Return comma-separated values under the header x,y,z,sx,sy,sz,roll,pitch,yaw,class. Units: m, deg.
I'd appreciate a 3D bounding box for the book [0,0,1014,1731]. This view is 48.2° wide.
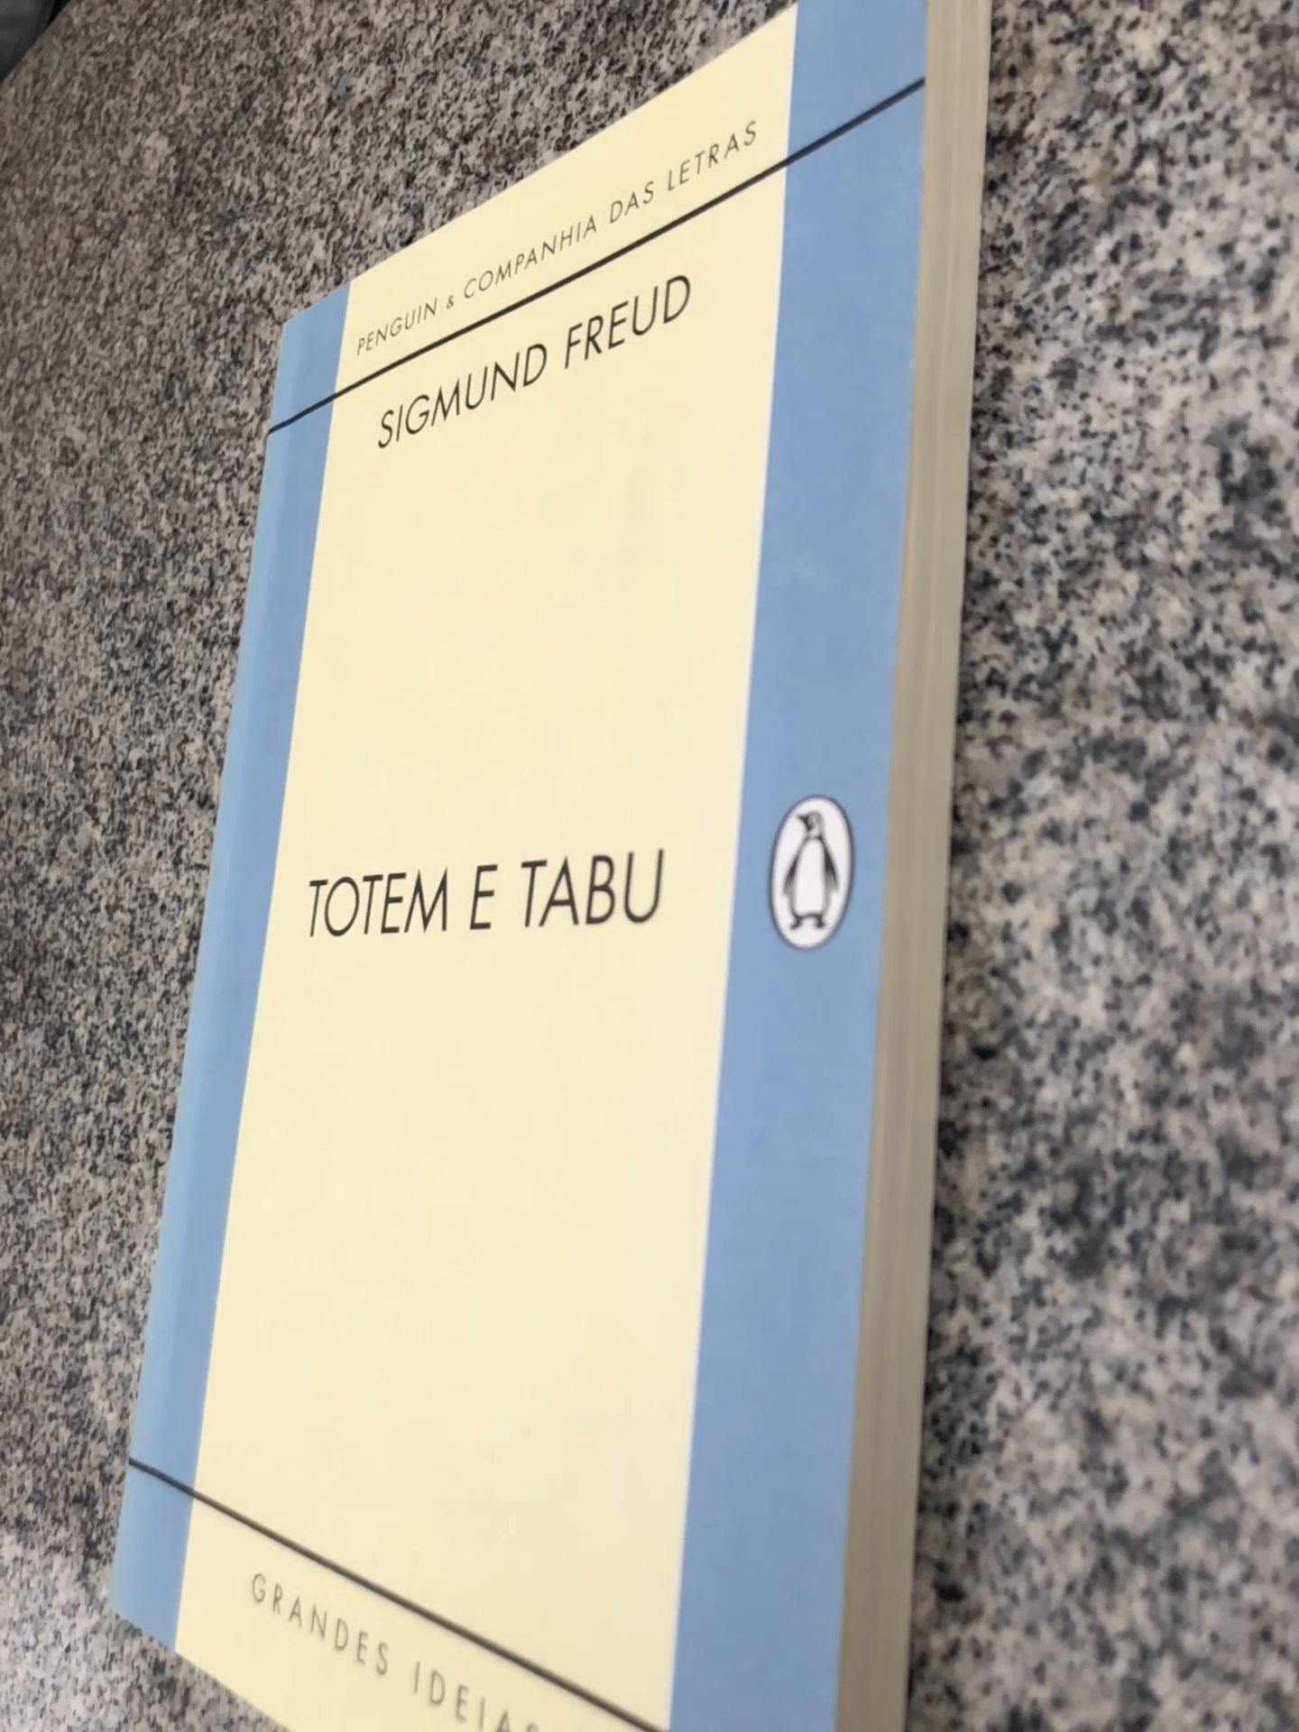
x,y,z,sx,sy,sz,roll,pitch,yaw,class
-0.026,0.008,0.164,0.131,0.015,0.191,-4,76,45,book
